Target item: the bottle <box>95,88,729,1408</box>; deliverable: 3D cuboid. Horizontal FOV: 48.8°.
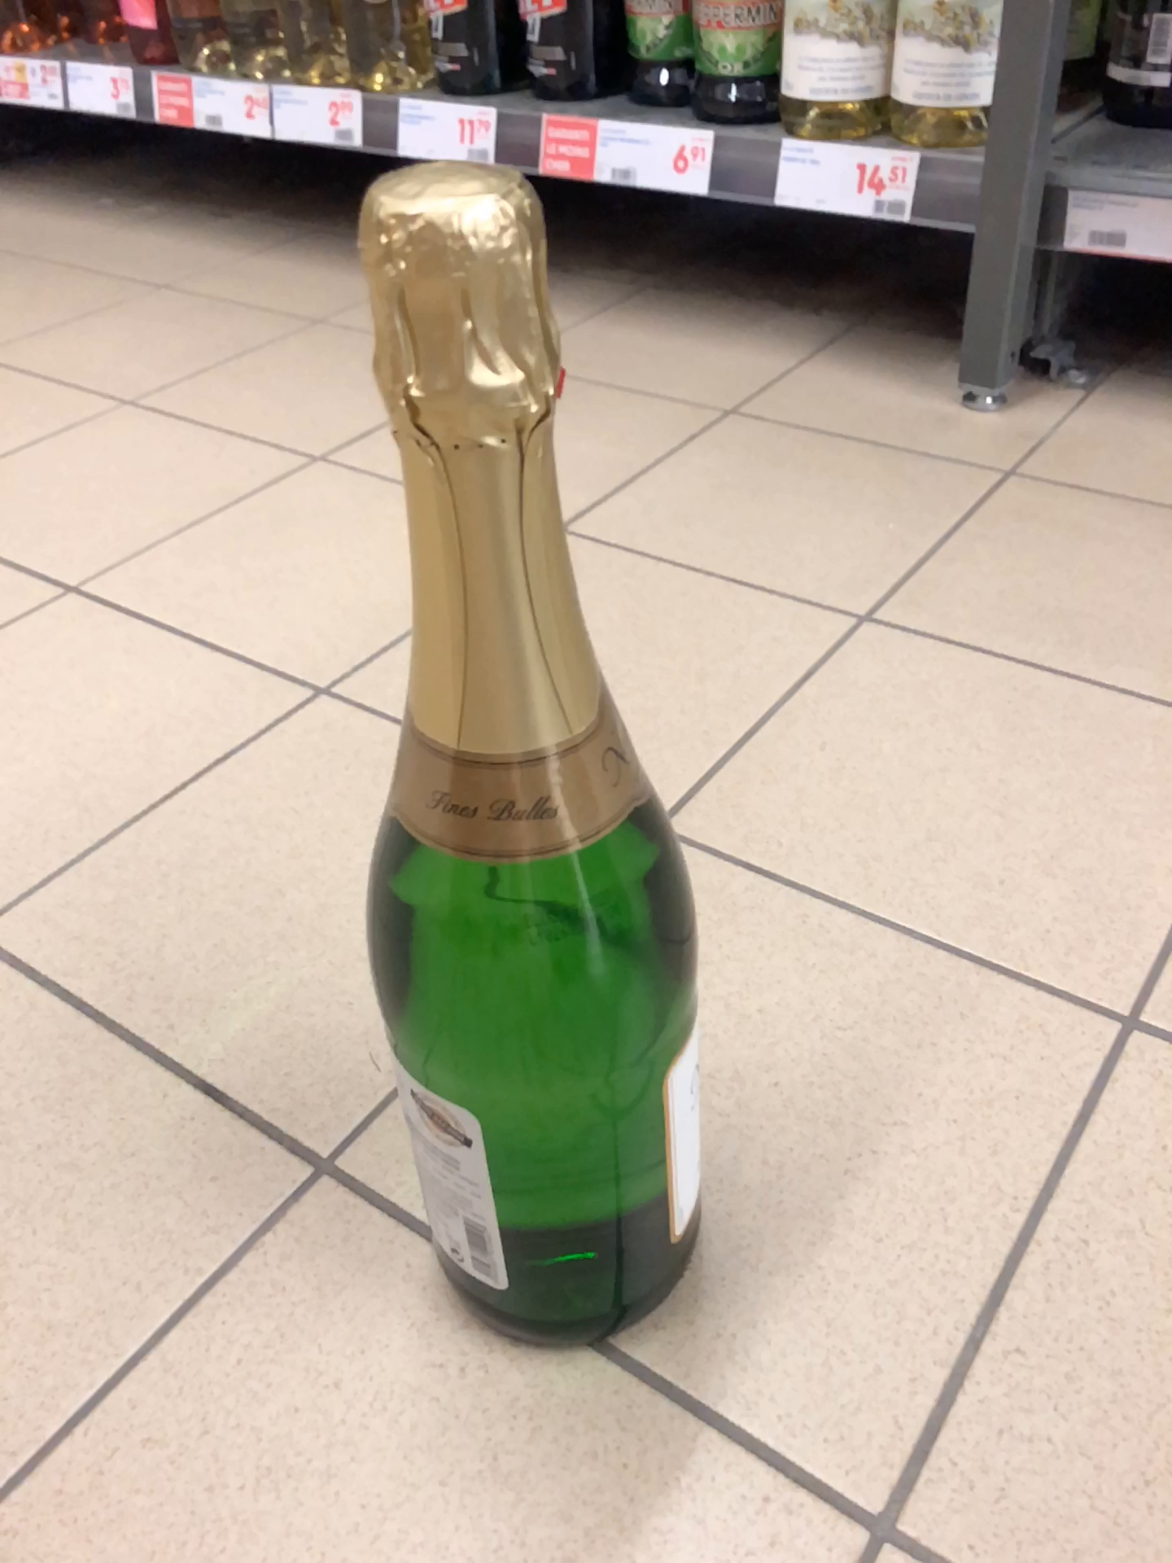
[{"bbox_3d":[-0.029,0.014,0.310,0.090,0.298,0.100,-13,38,-12],"label":"bottle"}]
